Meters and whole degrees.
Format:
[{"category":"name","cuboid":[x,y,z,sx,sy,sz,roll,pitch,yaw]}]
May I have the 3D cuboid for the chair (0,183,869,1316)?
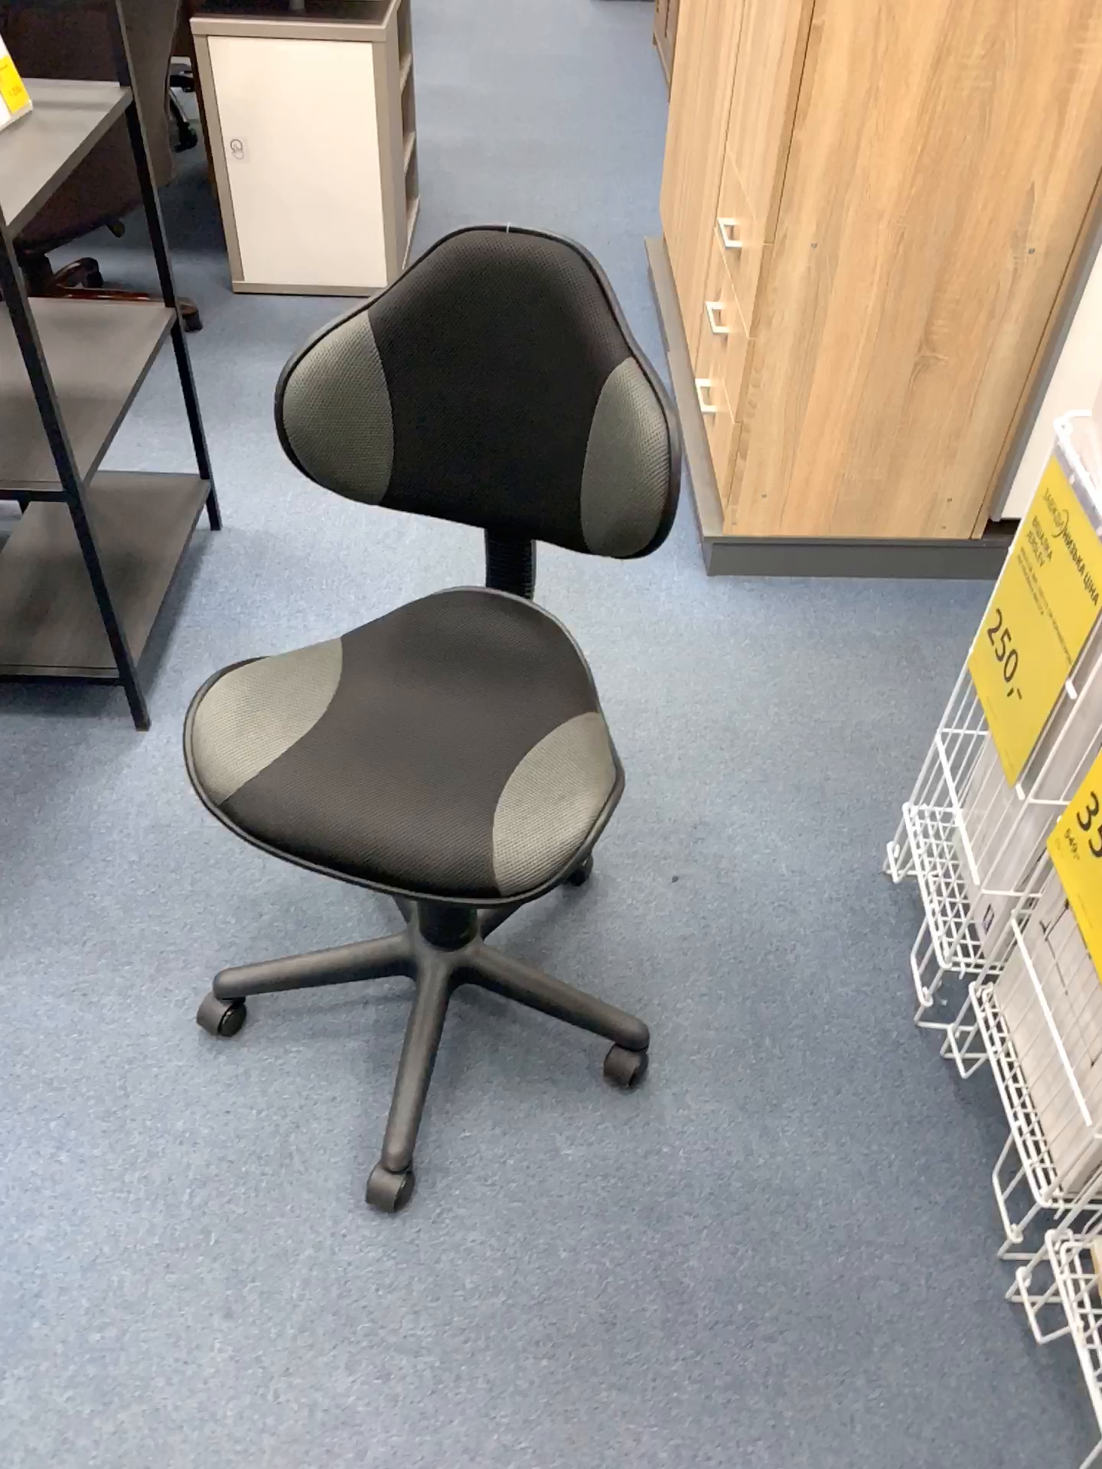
[{"category":"chair","cuboid":[-0.110,0.026,1.247,0.630,0.916,0.693,14,45,11]}]
